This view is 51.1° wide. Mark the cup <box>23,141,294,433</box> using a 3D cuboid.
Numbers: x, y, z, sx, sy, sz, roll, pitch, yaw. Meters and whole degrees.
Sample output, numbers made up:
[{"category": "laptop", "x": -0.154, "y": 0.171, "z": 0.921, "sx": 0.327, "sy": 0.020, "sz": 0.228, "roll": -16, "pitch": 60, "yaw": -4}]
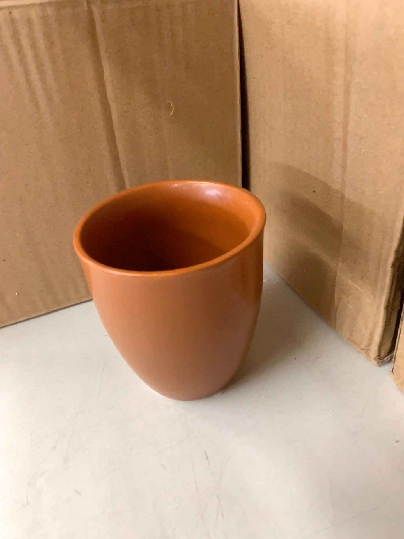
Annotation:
[{"category": "cup", "x": -0.009, "y": 0.001, "z": 0.174, "sx": 0.070, "sy": 0.079, "sz": 0.070, "roll": -6, "pitch": 36, "yaw": 4}]
